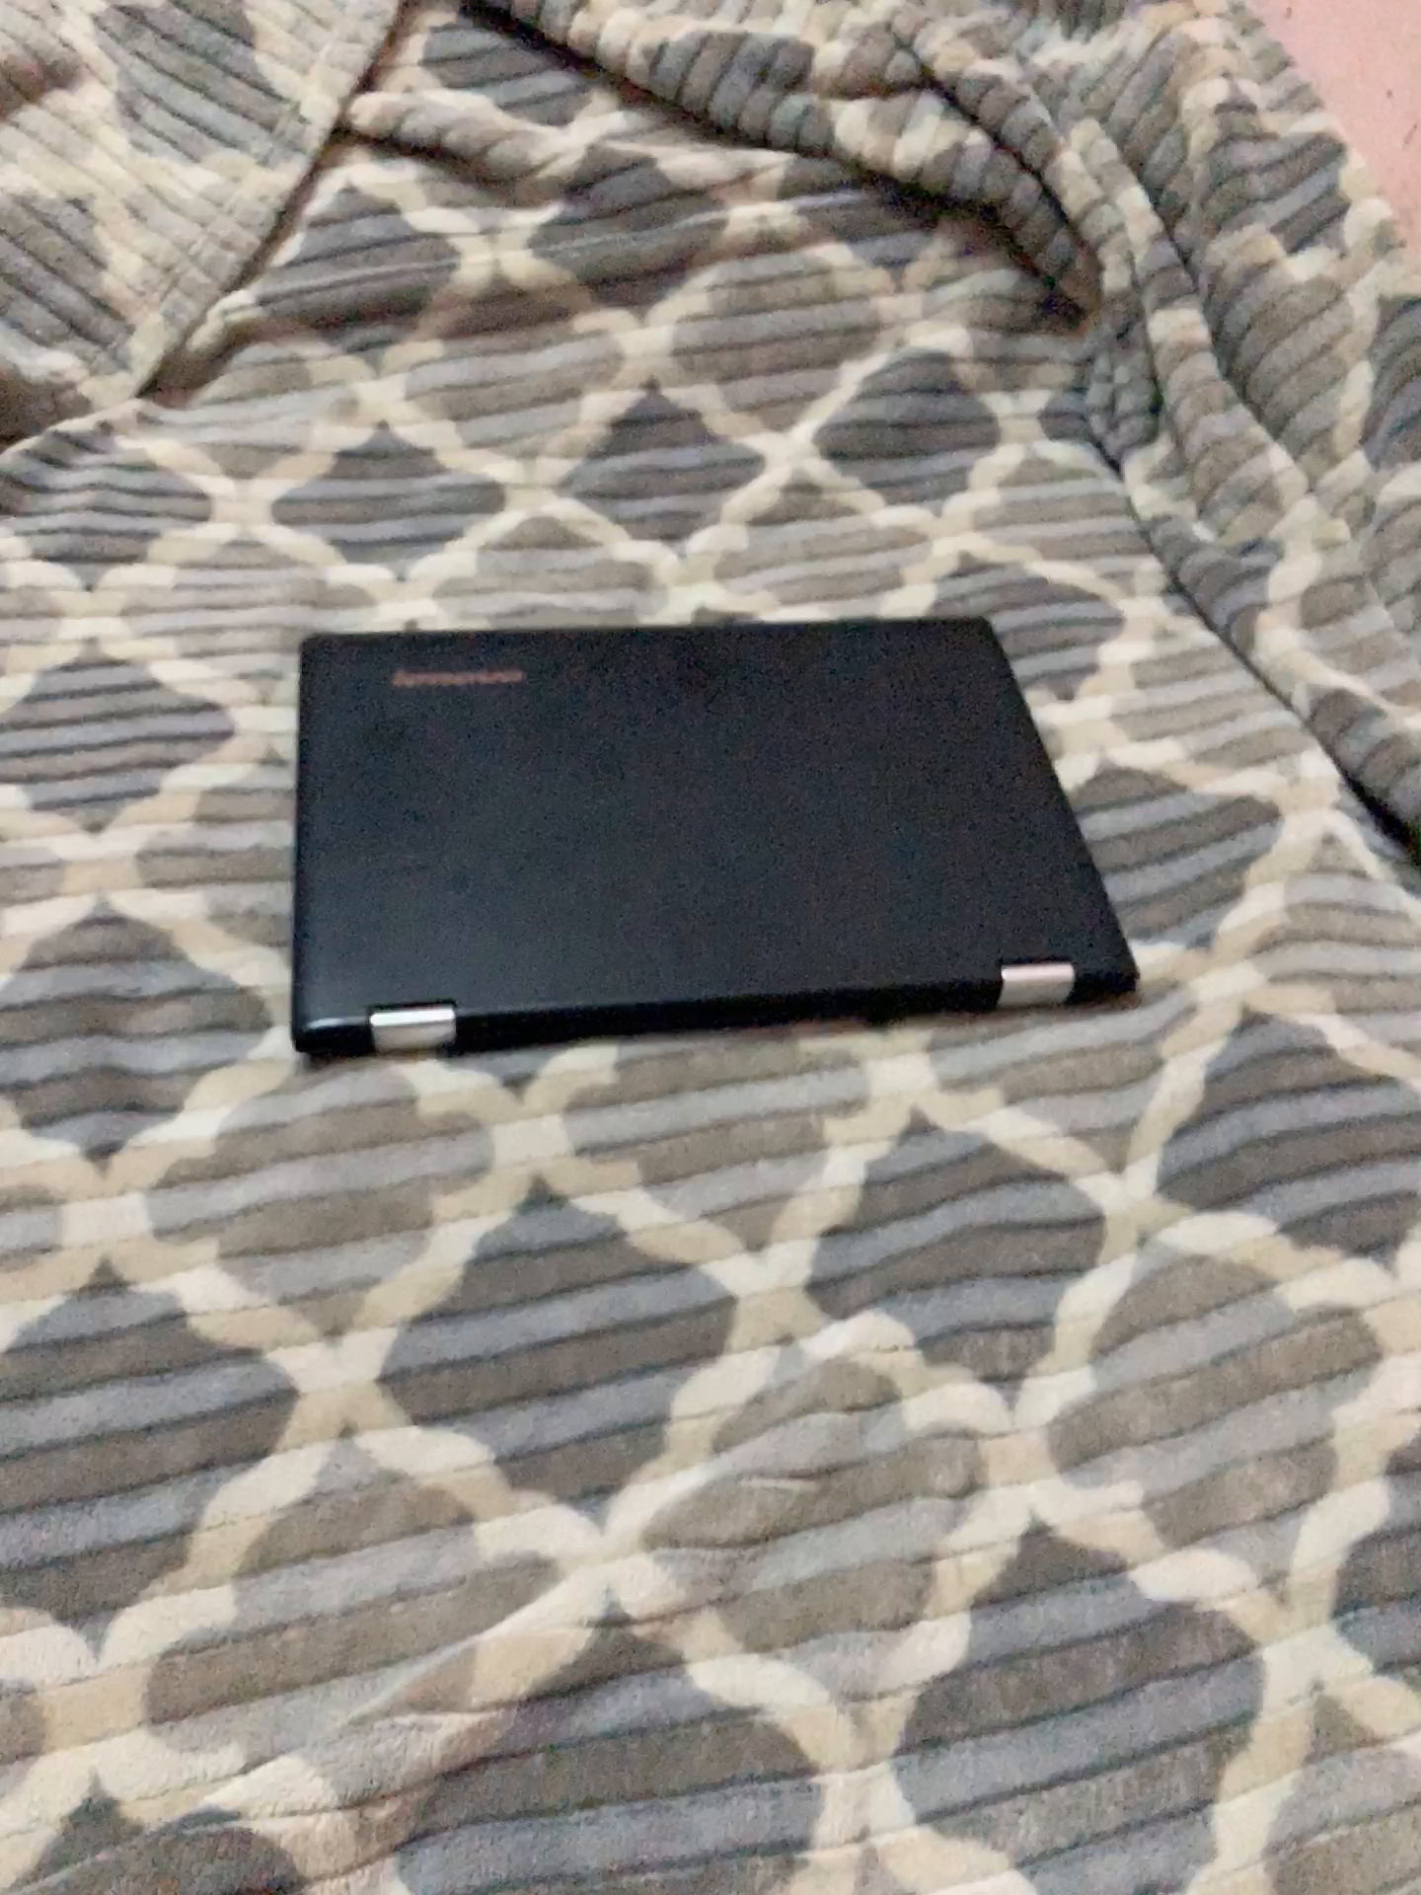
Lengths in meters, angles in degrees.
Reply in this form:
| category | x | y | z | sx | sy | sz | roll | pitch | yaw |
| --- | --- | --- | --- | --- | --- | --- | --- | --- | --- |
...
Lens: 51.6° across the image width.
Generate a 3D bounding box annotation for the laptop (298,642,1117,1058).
| category | x | y | z | sx | sy | sz | roll | pitch | yaw |
| --- | --- | --- | --- | --- | --- | --- | --- | --- | --- |
| laptop | -0.009 | -0.058 | 0.668 | 0.339 | 0.003 | 0.228 | -4 | 52 | -10 |
